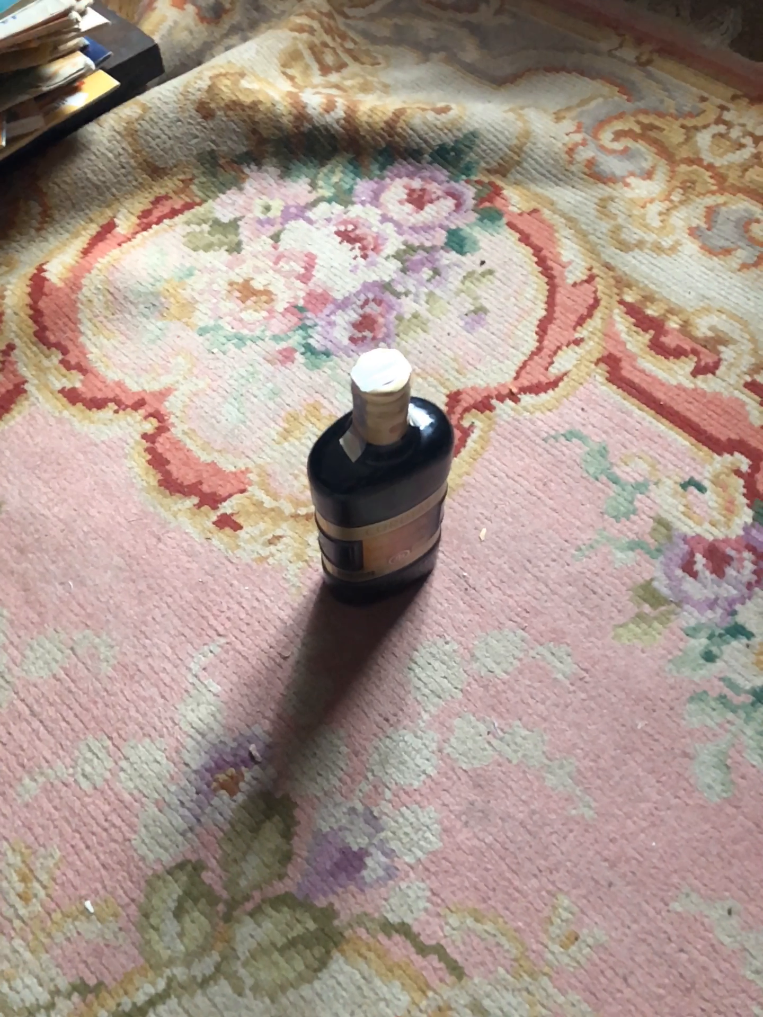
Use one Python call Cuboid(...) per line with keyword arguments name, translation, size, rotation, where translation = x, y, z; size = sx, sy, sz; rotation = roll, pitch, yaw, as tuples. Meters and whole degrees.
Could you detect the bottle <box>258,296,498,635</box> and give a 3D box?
Cuboid(name="bottle", translation=(0.000, -0.008, 0.494), size=(0.100, 0.239, 0.050), rotation=(-23, 63, -11))
